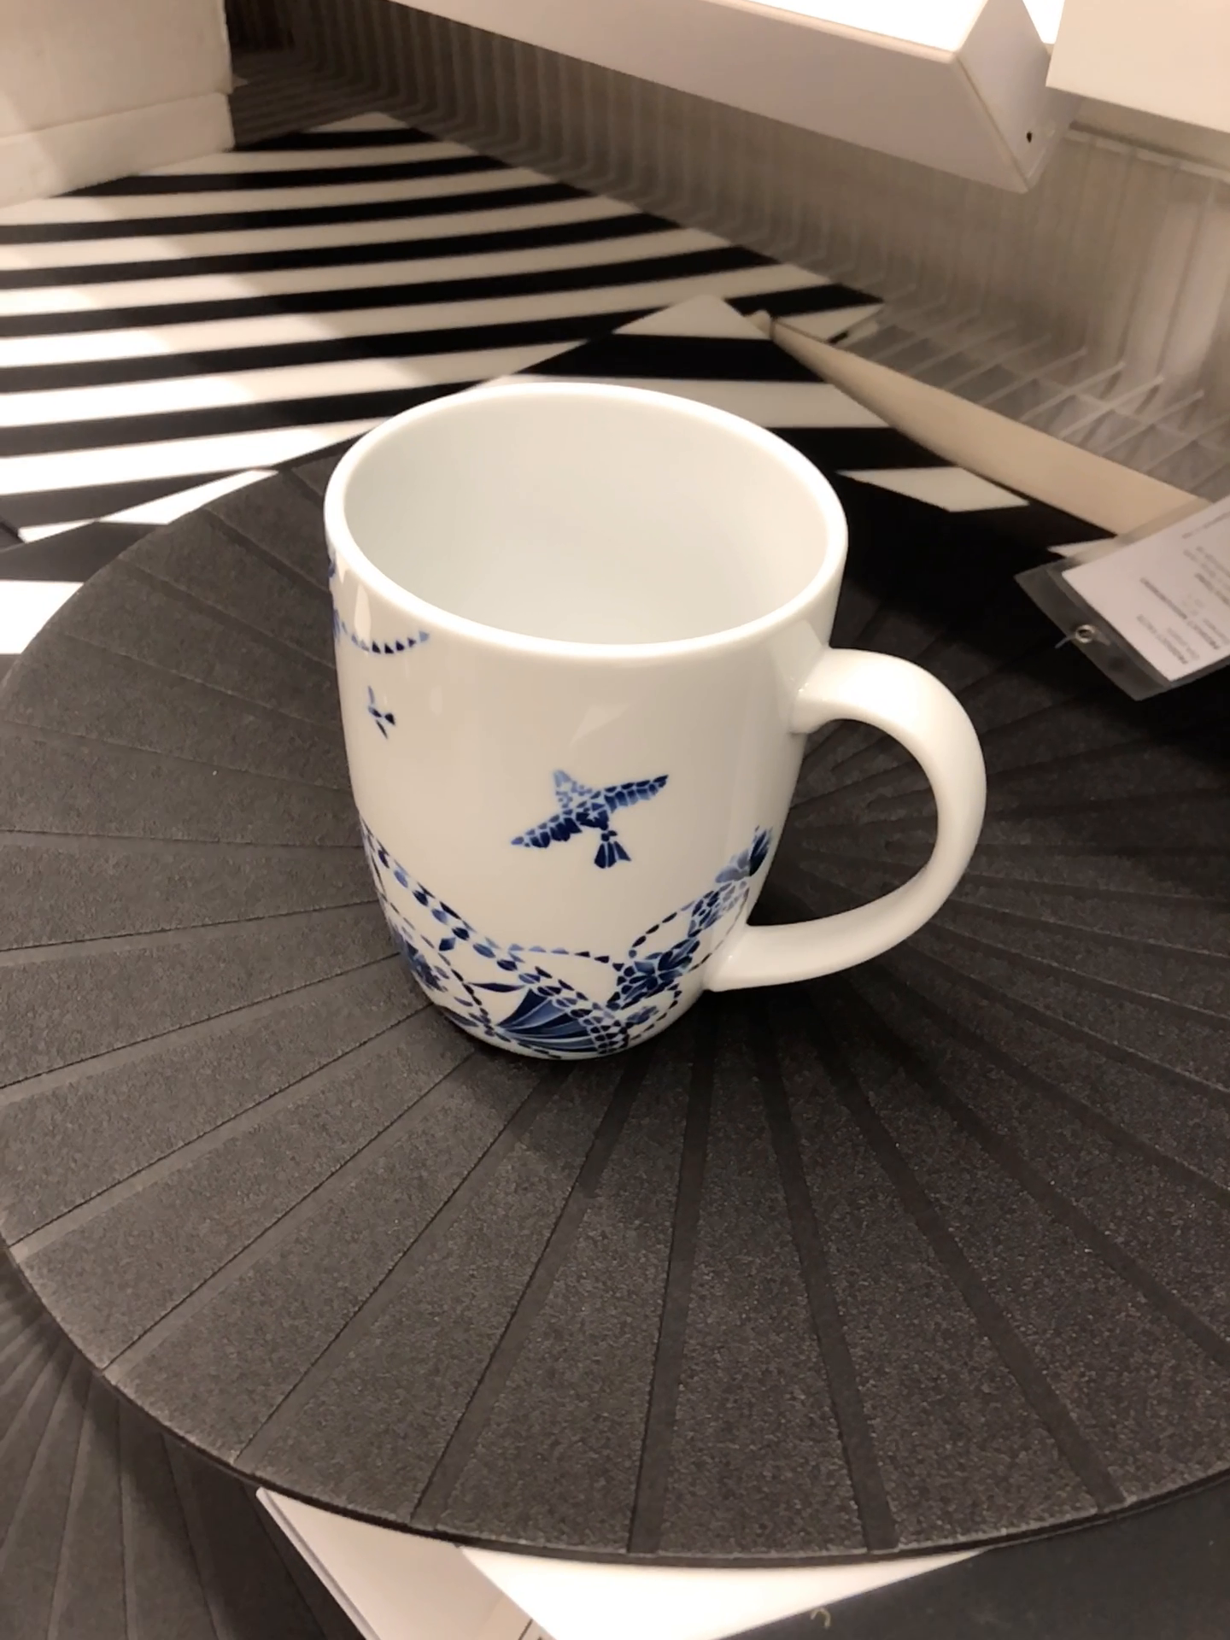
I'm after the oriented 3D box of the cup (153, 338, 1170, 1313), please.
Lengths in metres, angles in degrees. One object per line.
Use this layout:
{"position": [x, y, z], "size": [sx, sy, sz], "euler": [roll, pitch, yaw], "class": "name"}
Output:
{"position": [0.008, -0.008, 0.252], "size": [0.130, 0.100, 0.100], "euler": [24, 45, 22], "class": "cup"}
